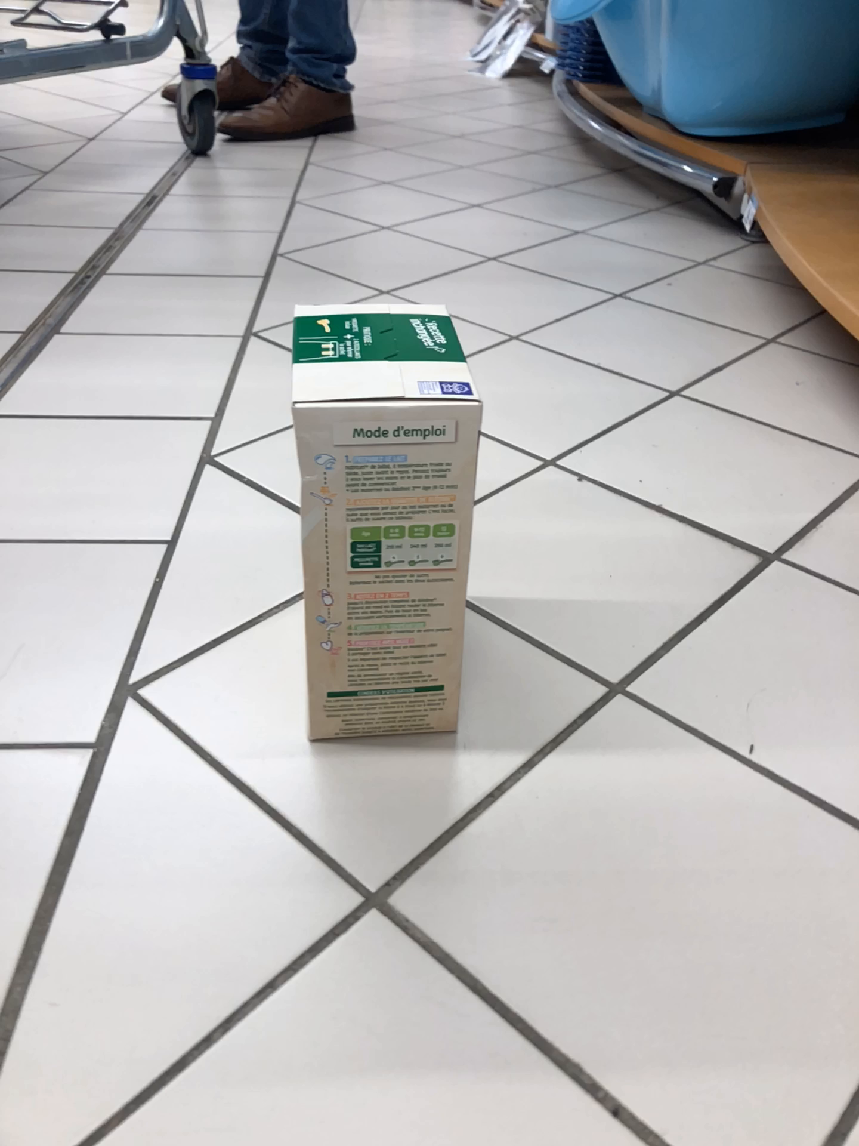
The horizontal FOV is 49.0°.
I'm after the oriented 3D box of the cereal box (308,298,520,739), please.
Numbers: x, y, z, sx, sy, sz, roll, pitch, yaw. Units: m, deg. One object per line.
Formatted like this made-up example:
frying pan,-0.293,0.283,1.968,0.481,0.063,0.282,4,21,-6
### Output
cereal box,-0.016,-0.032,0.509,0.090,0.189,0.141,-2,34,-6
